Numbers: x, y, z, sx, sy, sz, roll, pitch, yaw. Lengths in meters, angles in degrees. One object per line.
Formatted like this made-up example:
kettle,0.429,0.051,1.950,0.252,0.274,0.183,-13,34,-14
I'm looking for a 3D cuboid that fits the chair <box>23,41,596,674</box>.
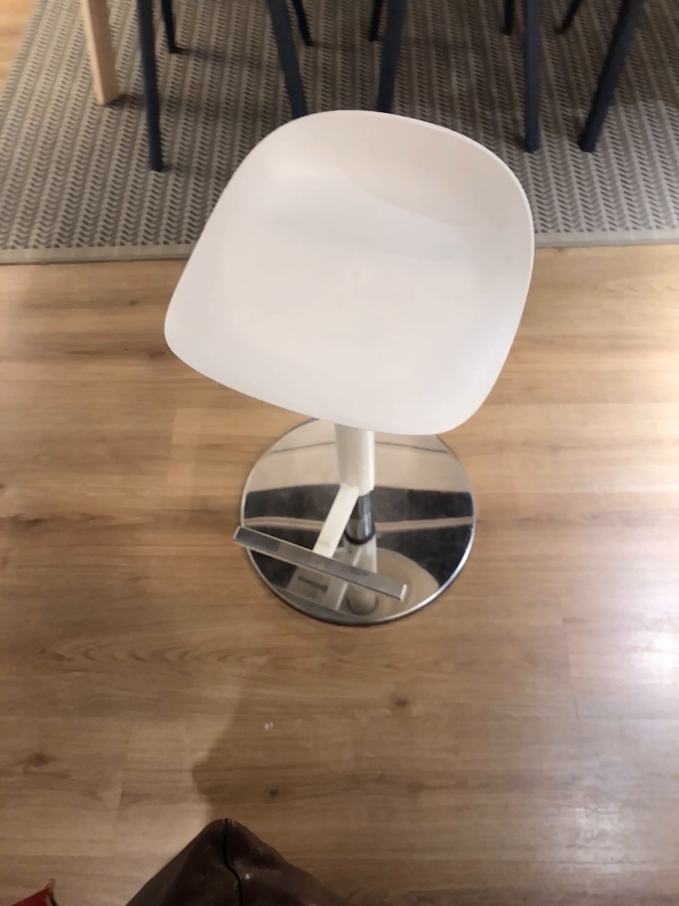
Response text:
chair,0.009,-0.068,1.041,0.440,0.699,0.451,15,61,11
